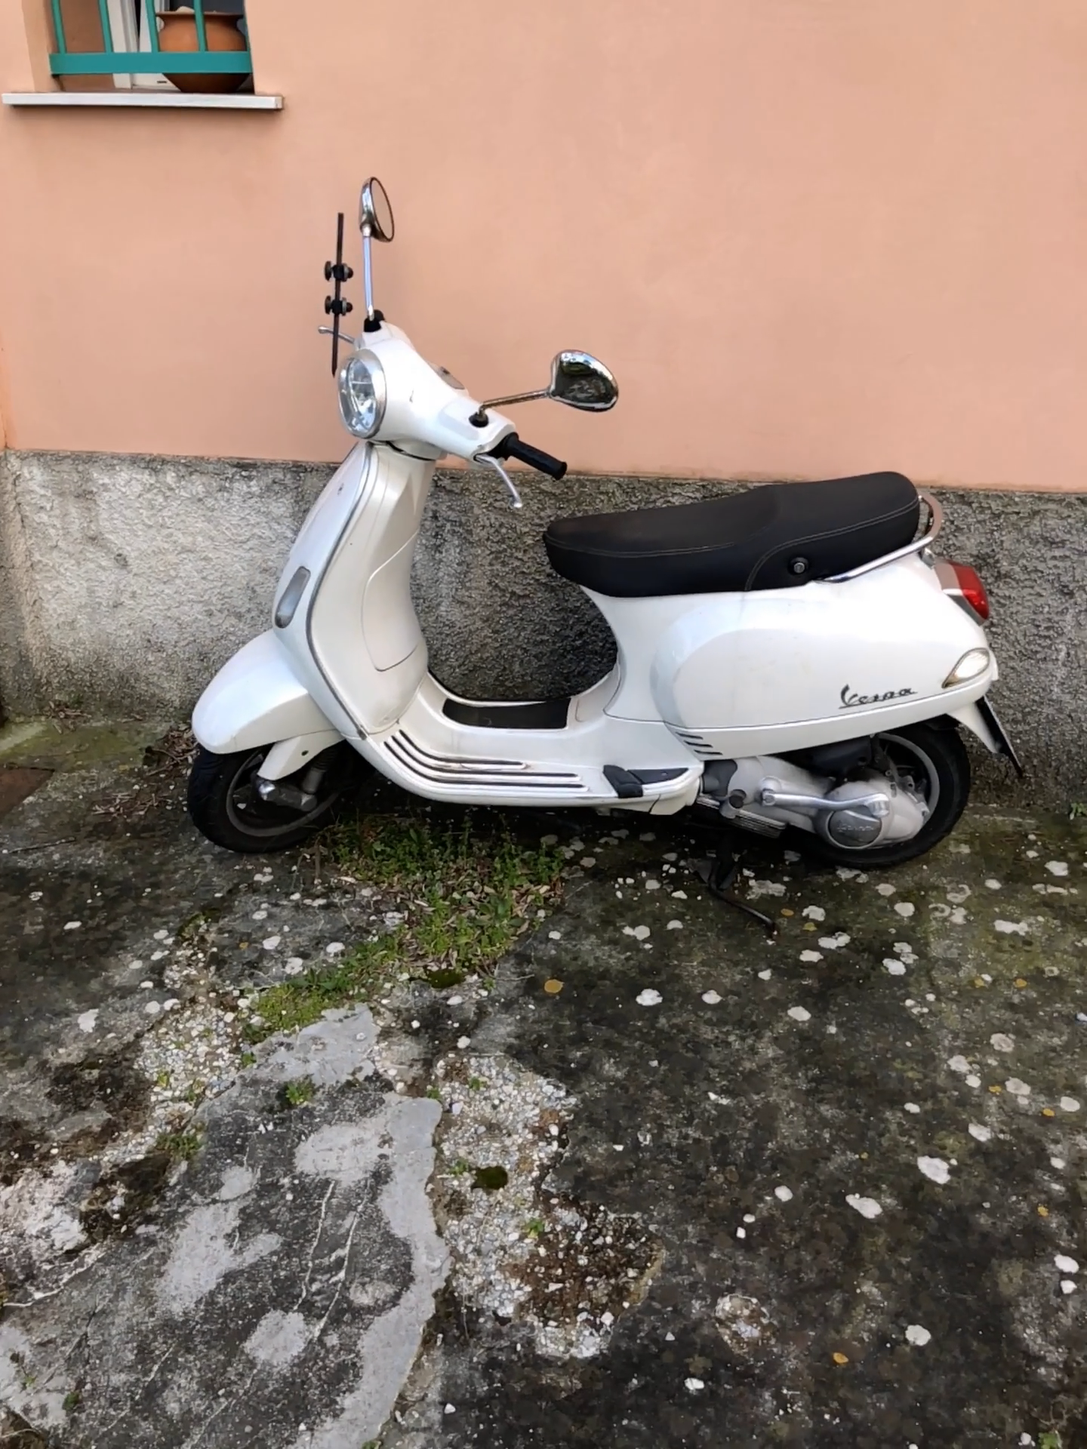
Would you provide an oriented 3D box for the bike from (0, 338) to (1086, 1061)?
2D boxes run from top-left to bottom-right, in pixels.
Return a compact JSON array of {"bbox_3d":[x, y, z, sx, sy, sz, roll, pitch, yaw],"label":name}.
[{"bbox_3d":[0.035,-0.053,2.198,1.657,1.085,0.647,-1,25,3],"label":"bike"}]
